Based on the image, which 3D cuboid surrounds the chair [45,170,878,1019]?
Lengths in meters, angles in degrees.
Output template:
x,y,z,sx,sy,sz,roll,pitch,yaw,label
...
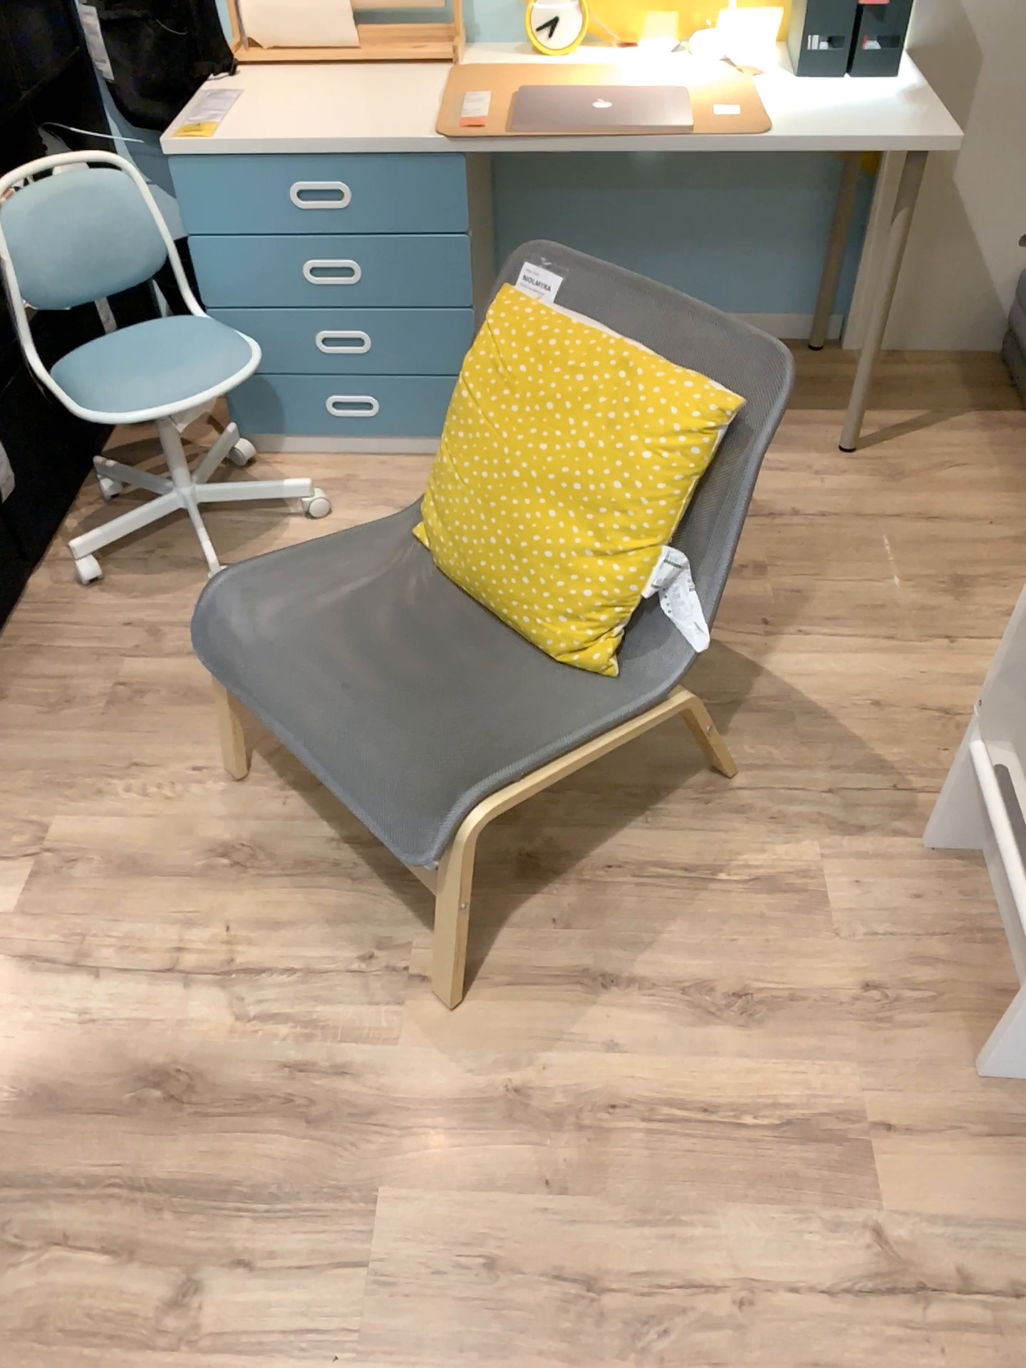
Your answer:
x,y,z,sx,sy,sz,roll,pitch,yaw,label
-0.056,-0.155,1.400,0.671,0.707,0.632,-32,52,-28,chair
